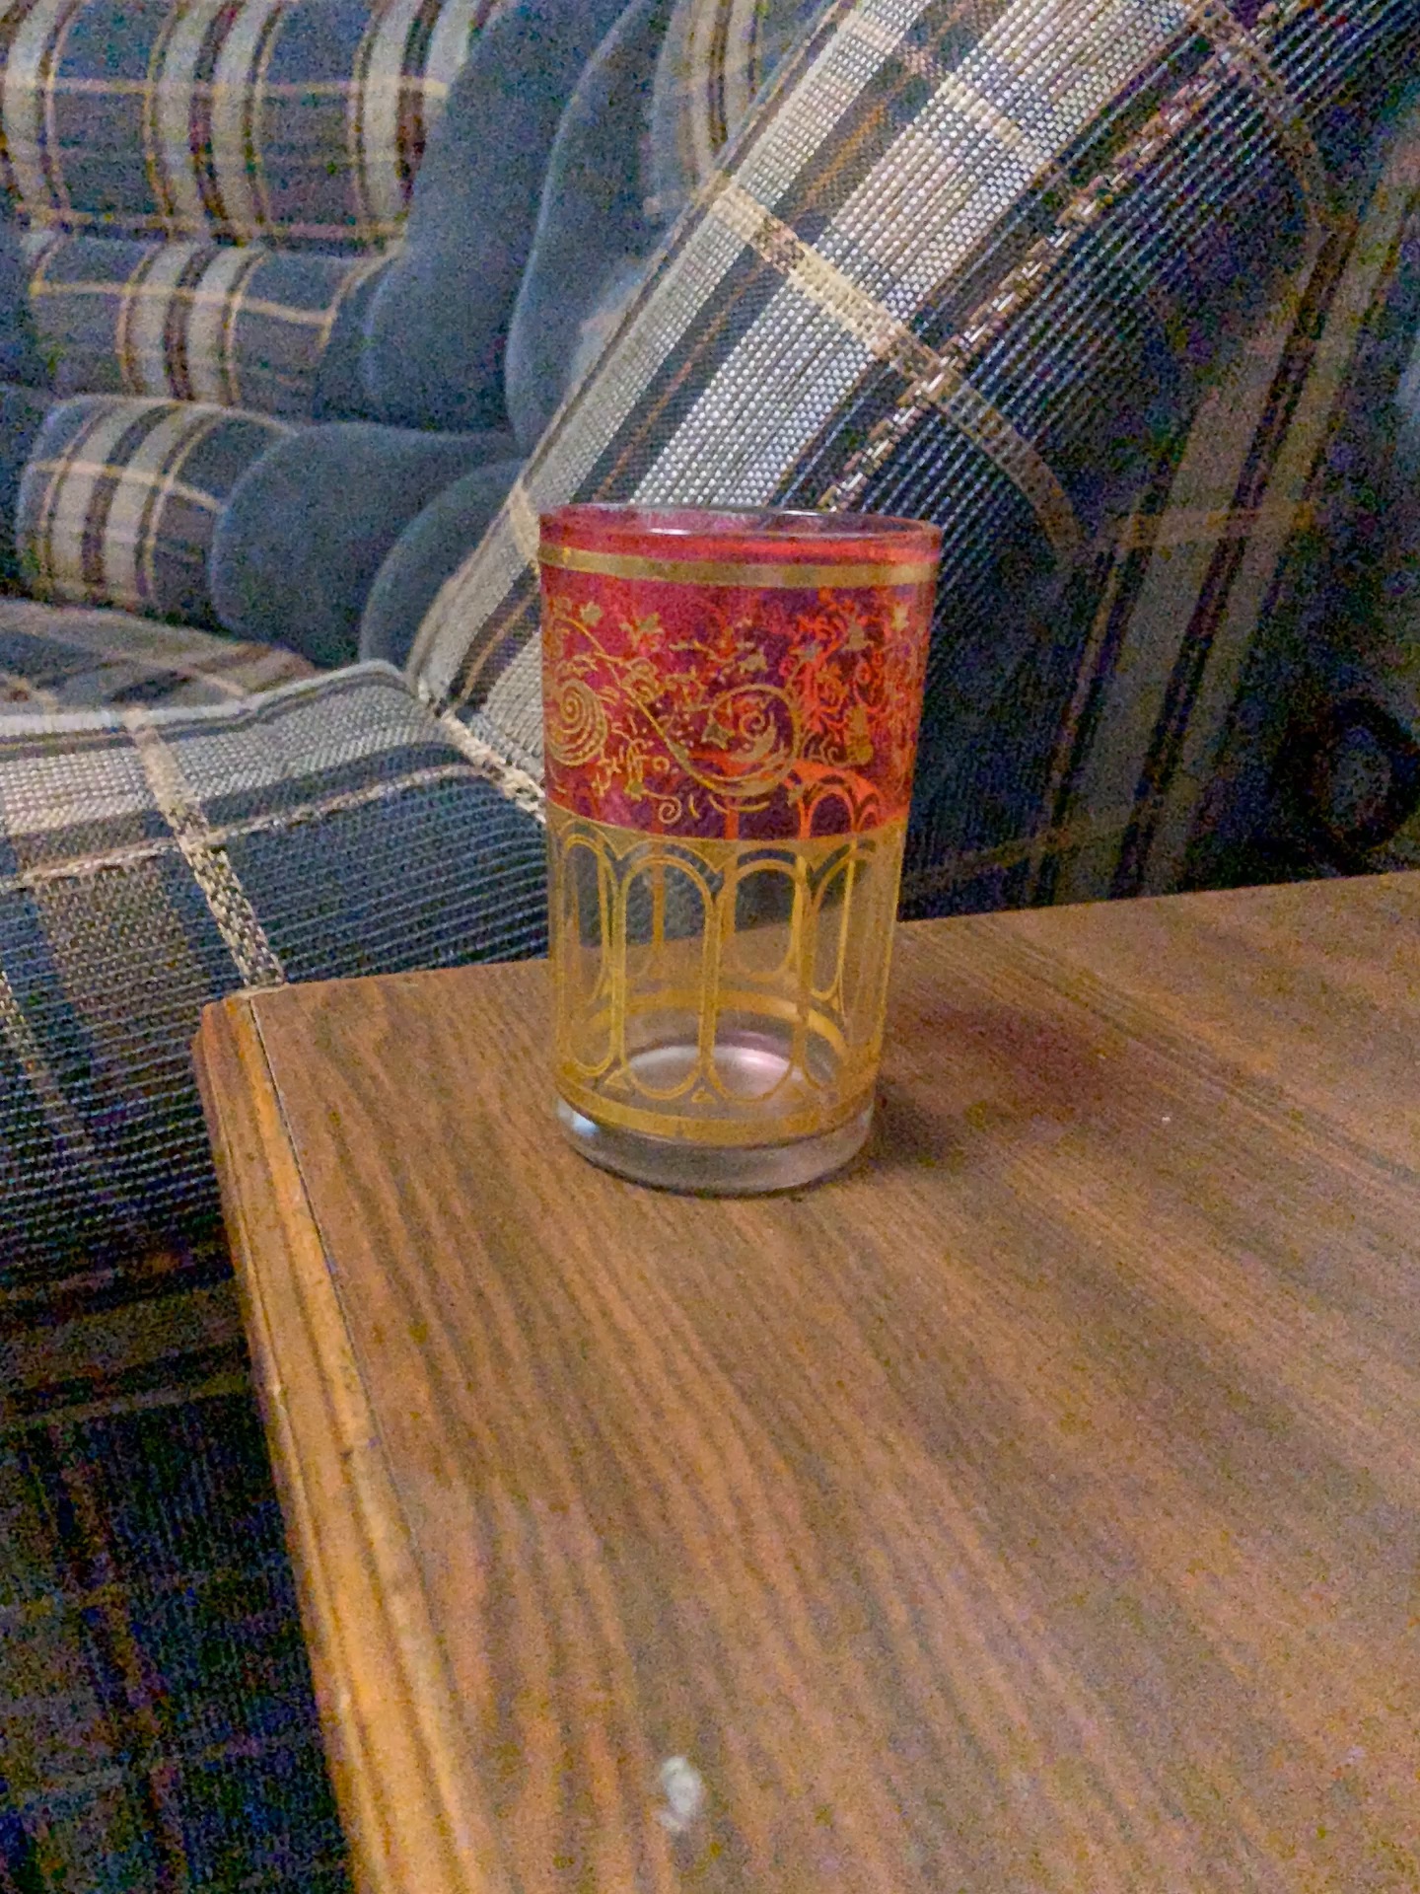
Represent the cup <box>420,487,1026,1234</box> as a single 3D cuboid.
[{"bbox_3d":[-0.003,-0.020,0.241,0.069,0.099,0.067,4,18,-1],"label":"cup"}]
